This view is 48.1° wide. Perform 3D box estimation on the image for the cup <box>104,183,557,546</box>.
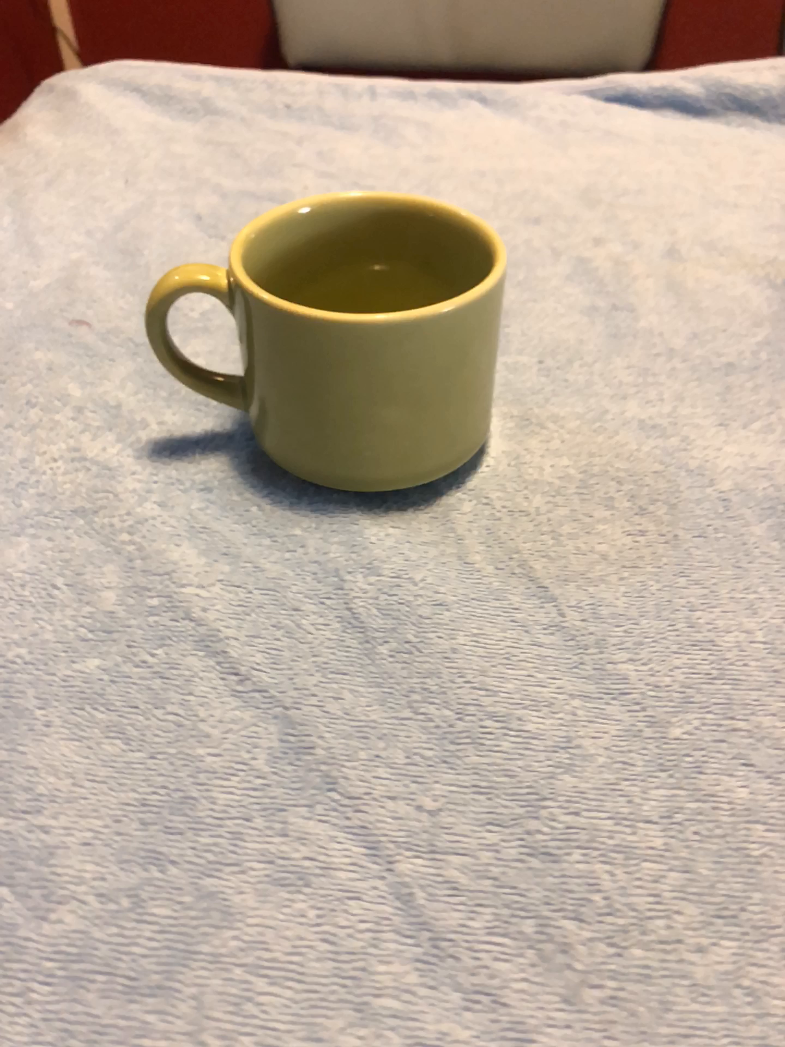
[{"bbox_3d":[-0.019,-0.052,0.266,0.110,0.060,0.091,-6,43,-5],"label":"cup"}]
